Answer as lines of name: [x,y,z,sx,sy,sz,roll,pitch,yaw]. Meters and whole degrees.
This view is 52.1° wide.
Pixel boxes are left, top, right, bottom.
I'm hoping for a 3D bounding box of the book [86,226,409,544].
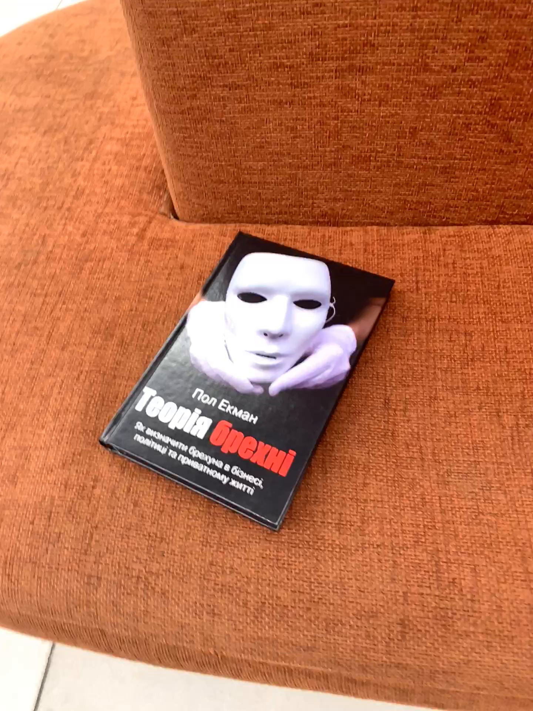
book: [-0.006,0.004,0.399,0.150,0.030,0.209,20,61,19]
